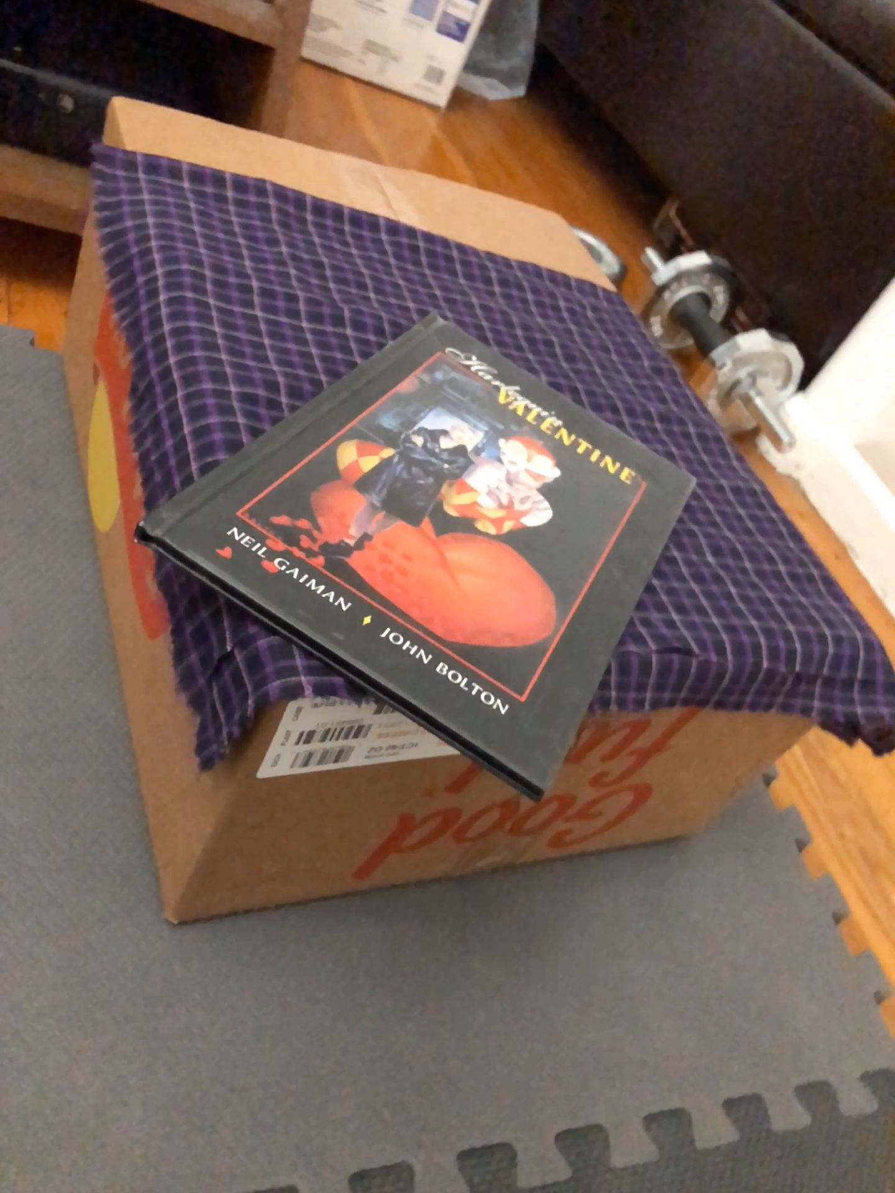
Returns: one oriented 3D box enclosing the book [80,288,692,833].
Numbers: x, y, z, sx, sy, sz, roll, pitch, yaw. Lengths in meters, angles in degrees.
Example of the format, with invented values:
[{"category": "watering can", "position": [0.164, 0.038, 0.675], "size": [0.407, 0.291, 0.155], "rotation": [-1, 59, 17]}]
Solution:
[{"category": "book", "position": [0.003, -0.046, 0.447], "size": [0.180, 0.020, 0.282], "rotation": [33, 39, 3]}]
